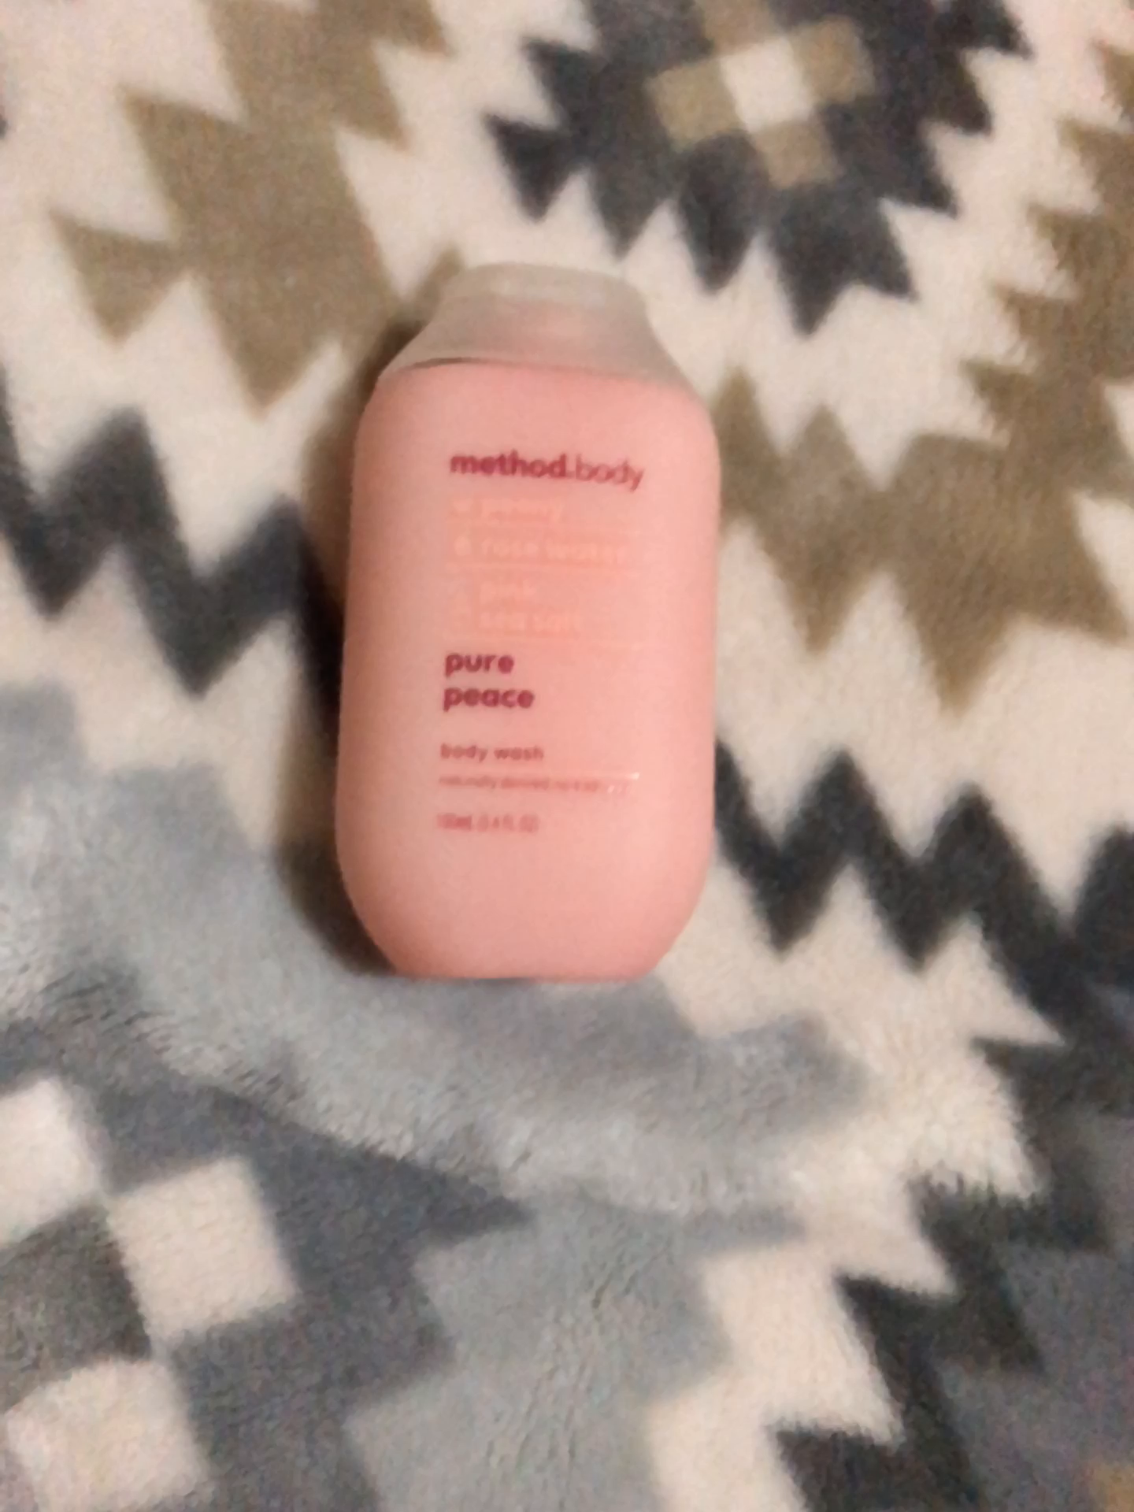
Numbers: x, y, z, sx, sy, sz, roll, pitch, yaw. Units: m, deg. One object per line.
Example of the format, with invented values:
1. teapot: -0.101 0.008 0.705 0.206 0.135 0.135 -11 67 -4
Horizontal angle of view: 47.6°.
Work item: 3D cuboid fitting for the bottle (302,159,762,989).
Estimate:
1. bottle: -0.005 -0.024 0.189 0.057 0.030 0.110 4 84 -7
